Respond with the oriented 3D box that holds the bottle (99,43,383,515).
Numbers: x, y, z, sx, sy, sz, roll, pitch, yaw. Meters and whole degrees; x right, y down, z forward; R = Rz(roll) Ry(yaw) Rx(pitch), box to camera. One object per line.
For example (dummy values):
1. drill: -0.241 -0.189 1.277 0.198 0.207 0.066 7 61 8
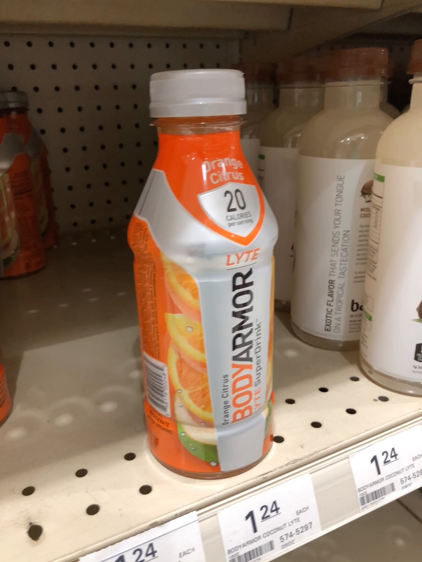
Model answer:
1. bottle: 0.009 -0.005 0.217 0.080 0.180 0.080 -1 22 0
